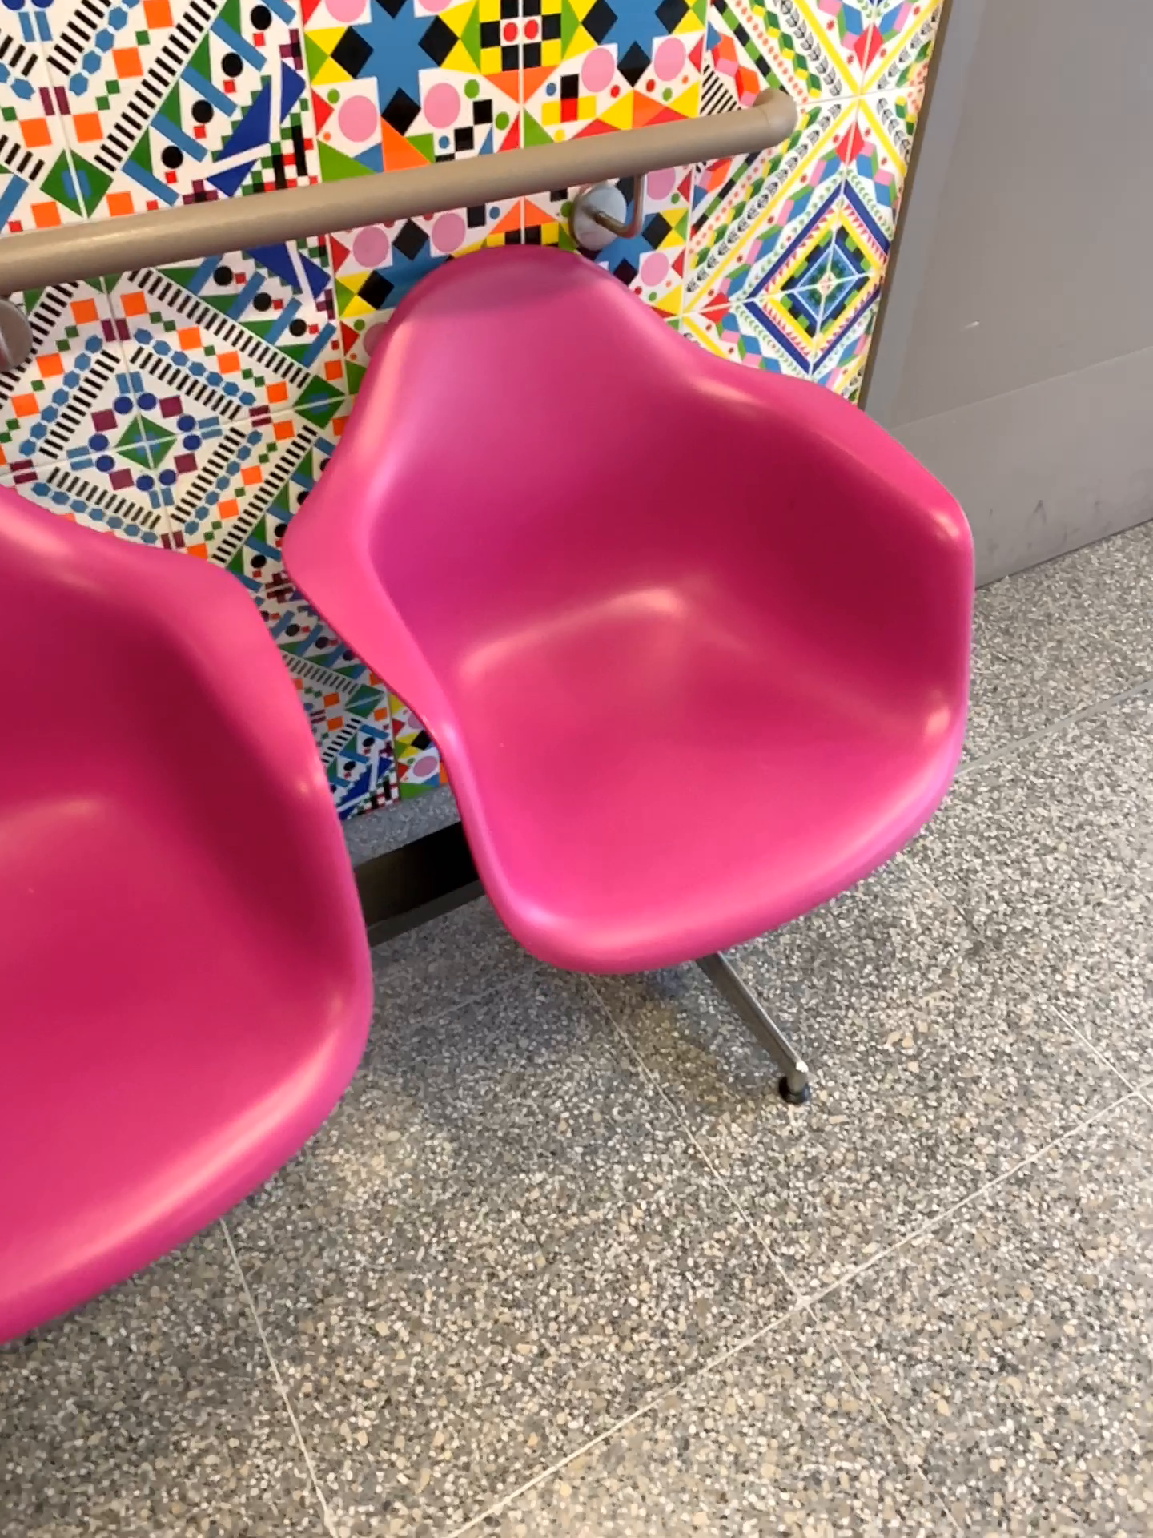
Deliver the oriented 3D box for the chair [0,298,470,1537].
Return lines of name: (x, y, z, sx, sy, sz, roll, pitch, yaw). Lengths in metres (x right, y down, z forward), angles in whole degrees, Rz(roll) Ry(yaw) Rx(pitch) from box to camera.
chair: (-0.469, 0.158, 0.949, 0.521, 0.763, 0.604, -21, 49, -21)

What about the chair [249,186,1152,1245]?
chair: (0.080, -0.059, 1.199, 0.521, 0.763, 0.604, -21, 49, -21)
